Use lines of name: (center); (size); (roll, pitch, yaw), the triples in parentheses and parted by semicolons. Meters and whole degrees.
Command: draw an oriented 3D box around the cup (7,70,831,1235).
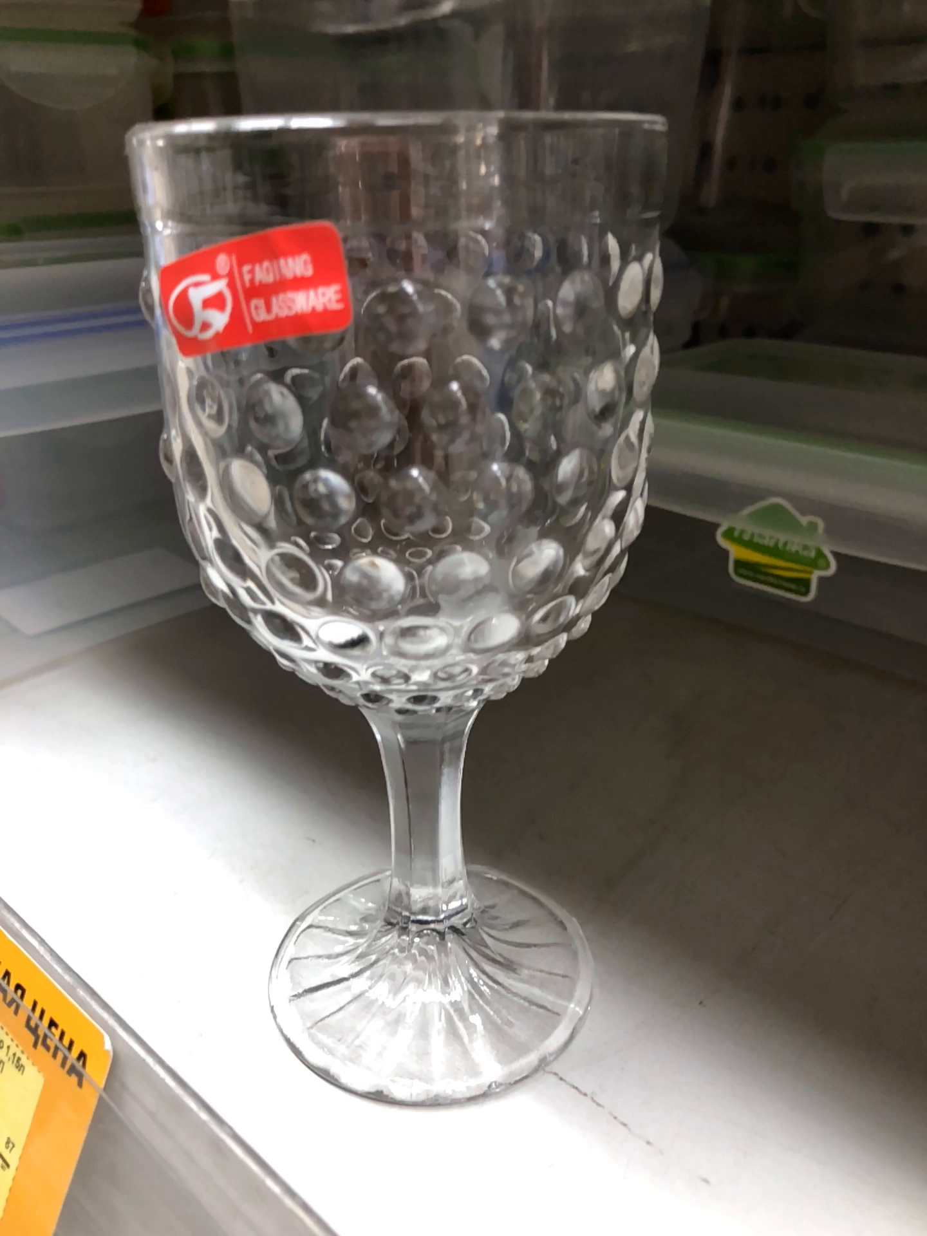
cup: (-0.005, 0.000, 0.180); (0.081, 0.160, 0.086); (0, 23, 0)
